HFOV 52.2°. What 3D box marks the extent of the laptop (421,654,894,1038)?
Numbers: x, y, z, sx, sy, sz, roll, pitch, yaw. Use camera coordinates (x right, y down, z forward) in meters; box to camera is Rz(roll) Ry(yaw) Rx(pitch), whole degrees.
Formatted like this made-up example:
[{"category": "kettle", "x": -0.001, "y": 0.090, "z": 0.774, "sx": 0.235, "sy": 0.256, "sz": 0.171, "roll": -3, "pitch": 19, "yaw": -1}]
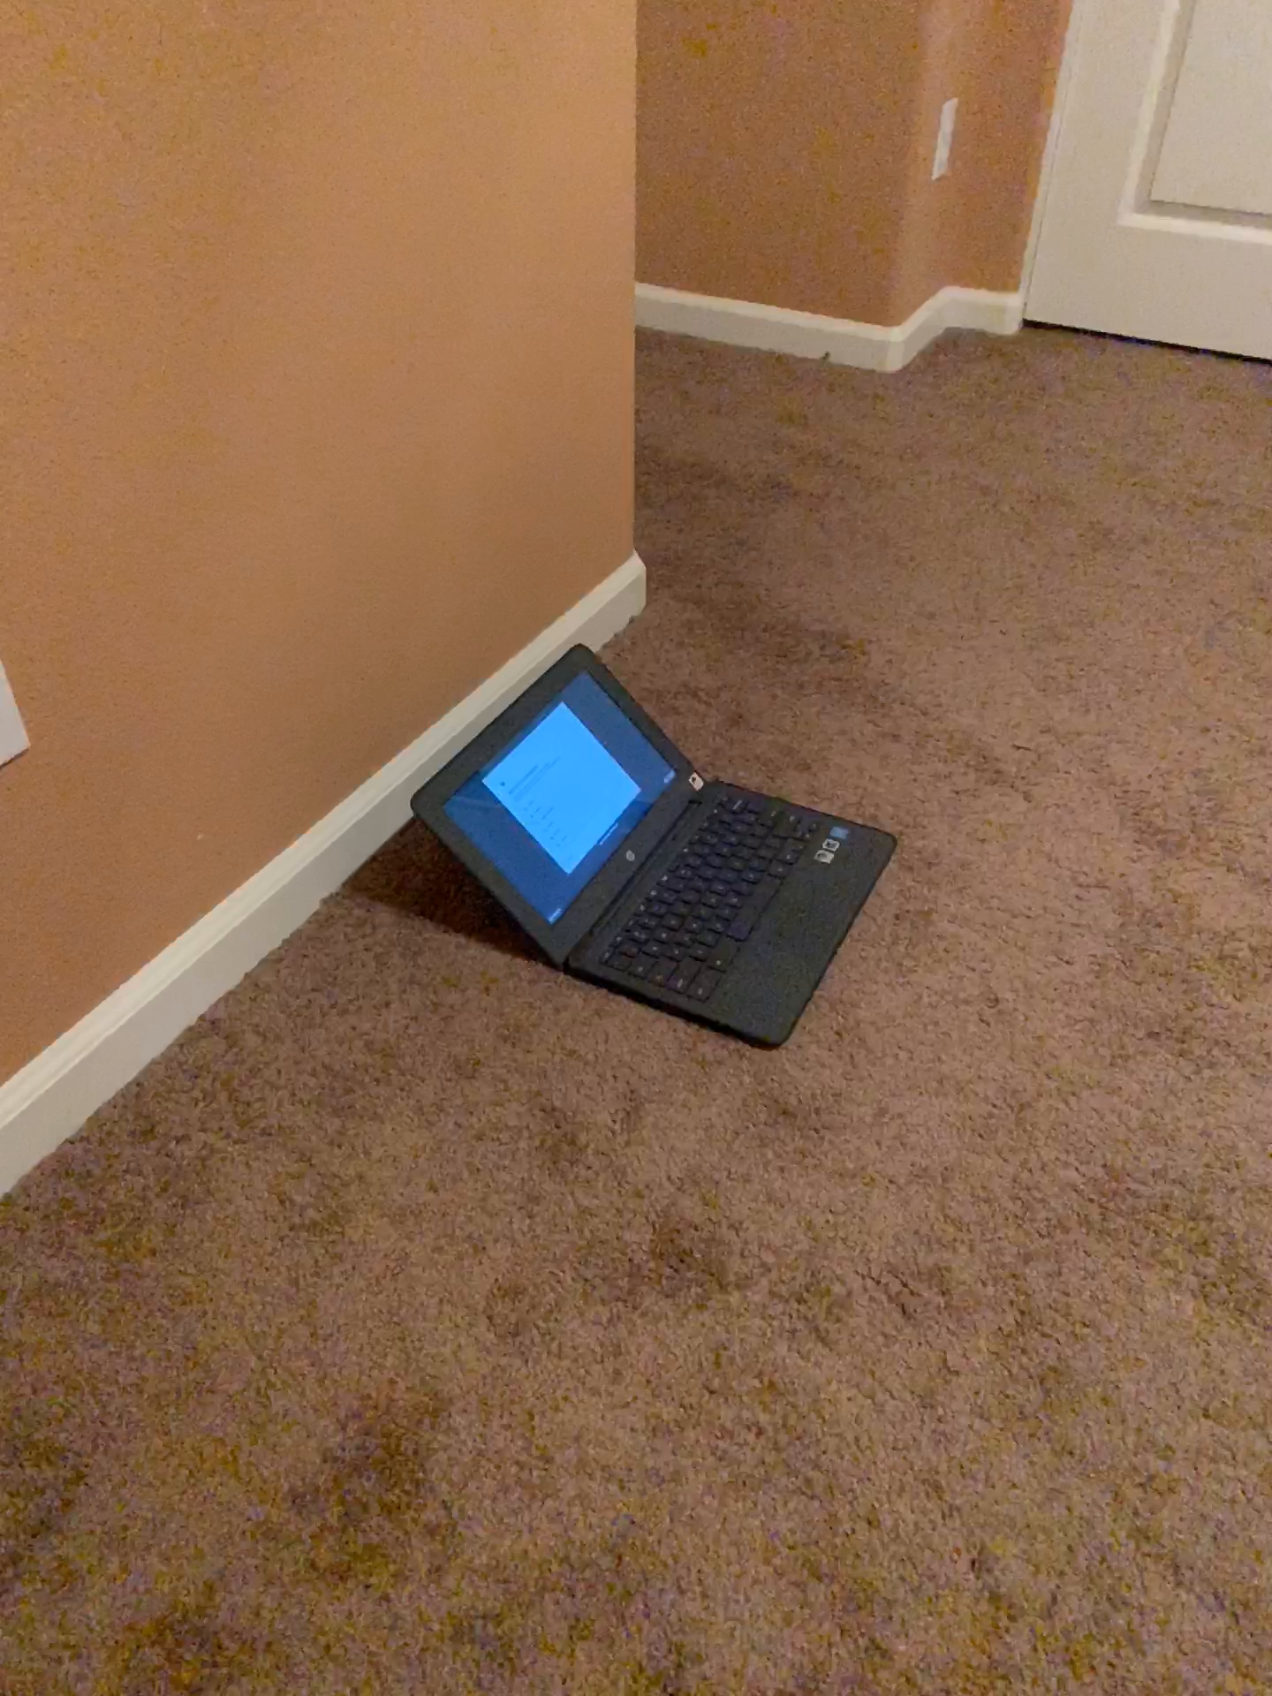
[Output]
[{"category": "laptop", "x": 0.025, "y": -0.020, "z": 1.194, "sx": 0.331, "sy": 0.124, "sz": 0.289, "roll": 18, "pitch": 42, "yaw": 20}]
